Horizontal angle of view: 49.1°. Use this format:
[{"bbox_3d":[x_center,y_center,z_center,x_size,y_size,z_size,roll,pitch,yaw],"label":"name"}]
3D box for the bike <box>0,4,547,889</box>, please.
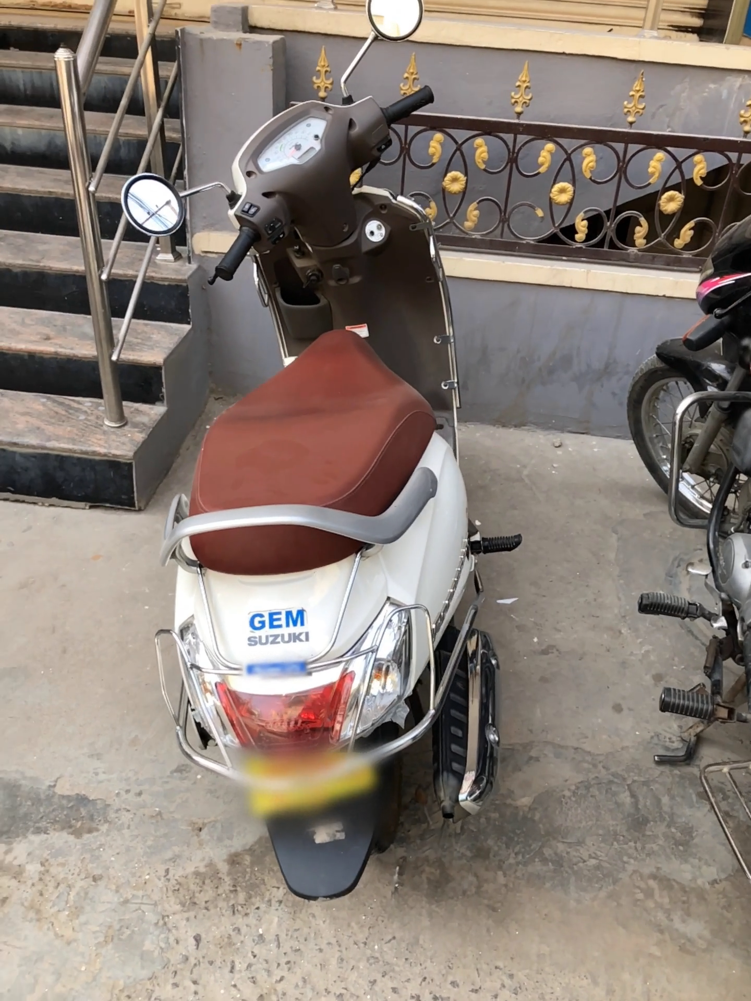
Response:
[{"bbox_3d":[-0.168,-0.257,1.777,0.597,1.194,1.494,2,35,-3],"label":"bike"}]
